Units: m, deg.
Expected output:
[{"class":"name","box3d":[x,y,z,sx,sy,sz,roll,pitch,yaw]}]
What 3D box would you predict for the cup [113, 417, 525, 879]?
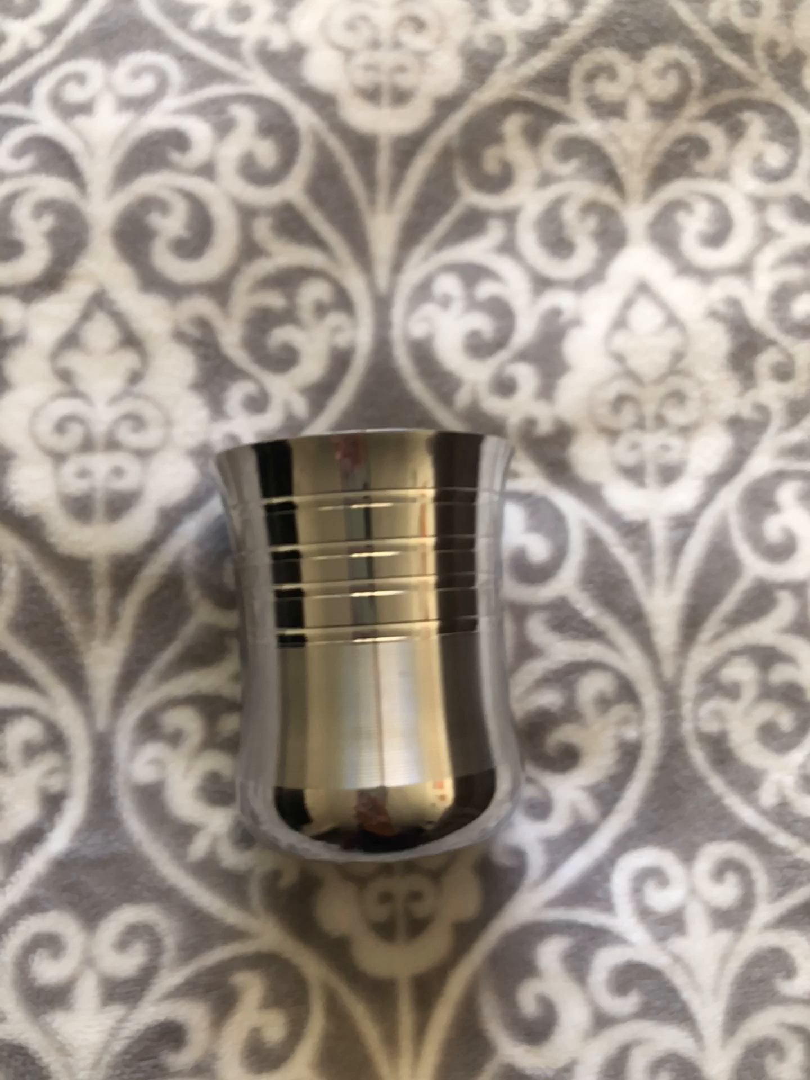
[{"class":"cup","box3d":[-0.020,0.024,0.214,0.077,0.066,0.086,-3,81,-4]}]
